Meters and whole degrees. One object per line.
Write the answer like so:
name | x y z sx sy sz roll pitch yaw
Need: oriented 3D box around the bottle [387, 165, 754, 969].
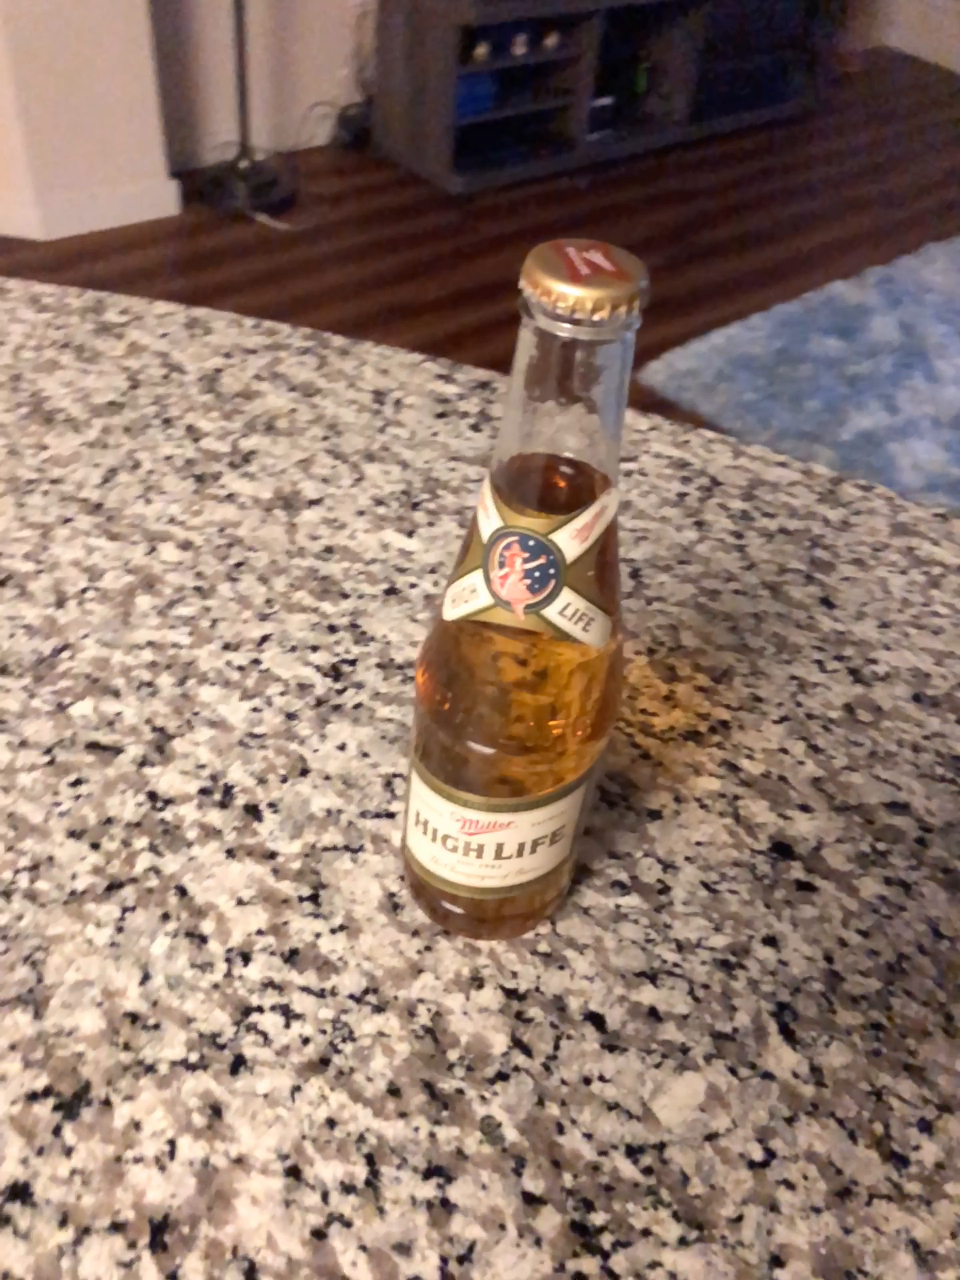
bottle | 0.015 -0.001 0.302 0.060 0.229 0.070 10 44 2
